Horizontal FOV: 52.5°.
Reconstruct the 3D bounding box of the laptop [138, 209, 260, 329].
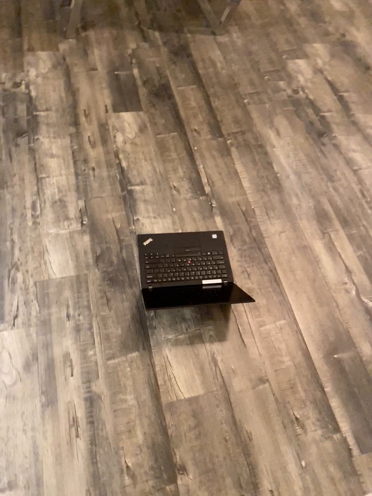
[{"bbox_3d":[0.021,0.059,1.233,0.319,0.149,0.357,-4,57,-10],"label":"laptop"}]
